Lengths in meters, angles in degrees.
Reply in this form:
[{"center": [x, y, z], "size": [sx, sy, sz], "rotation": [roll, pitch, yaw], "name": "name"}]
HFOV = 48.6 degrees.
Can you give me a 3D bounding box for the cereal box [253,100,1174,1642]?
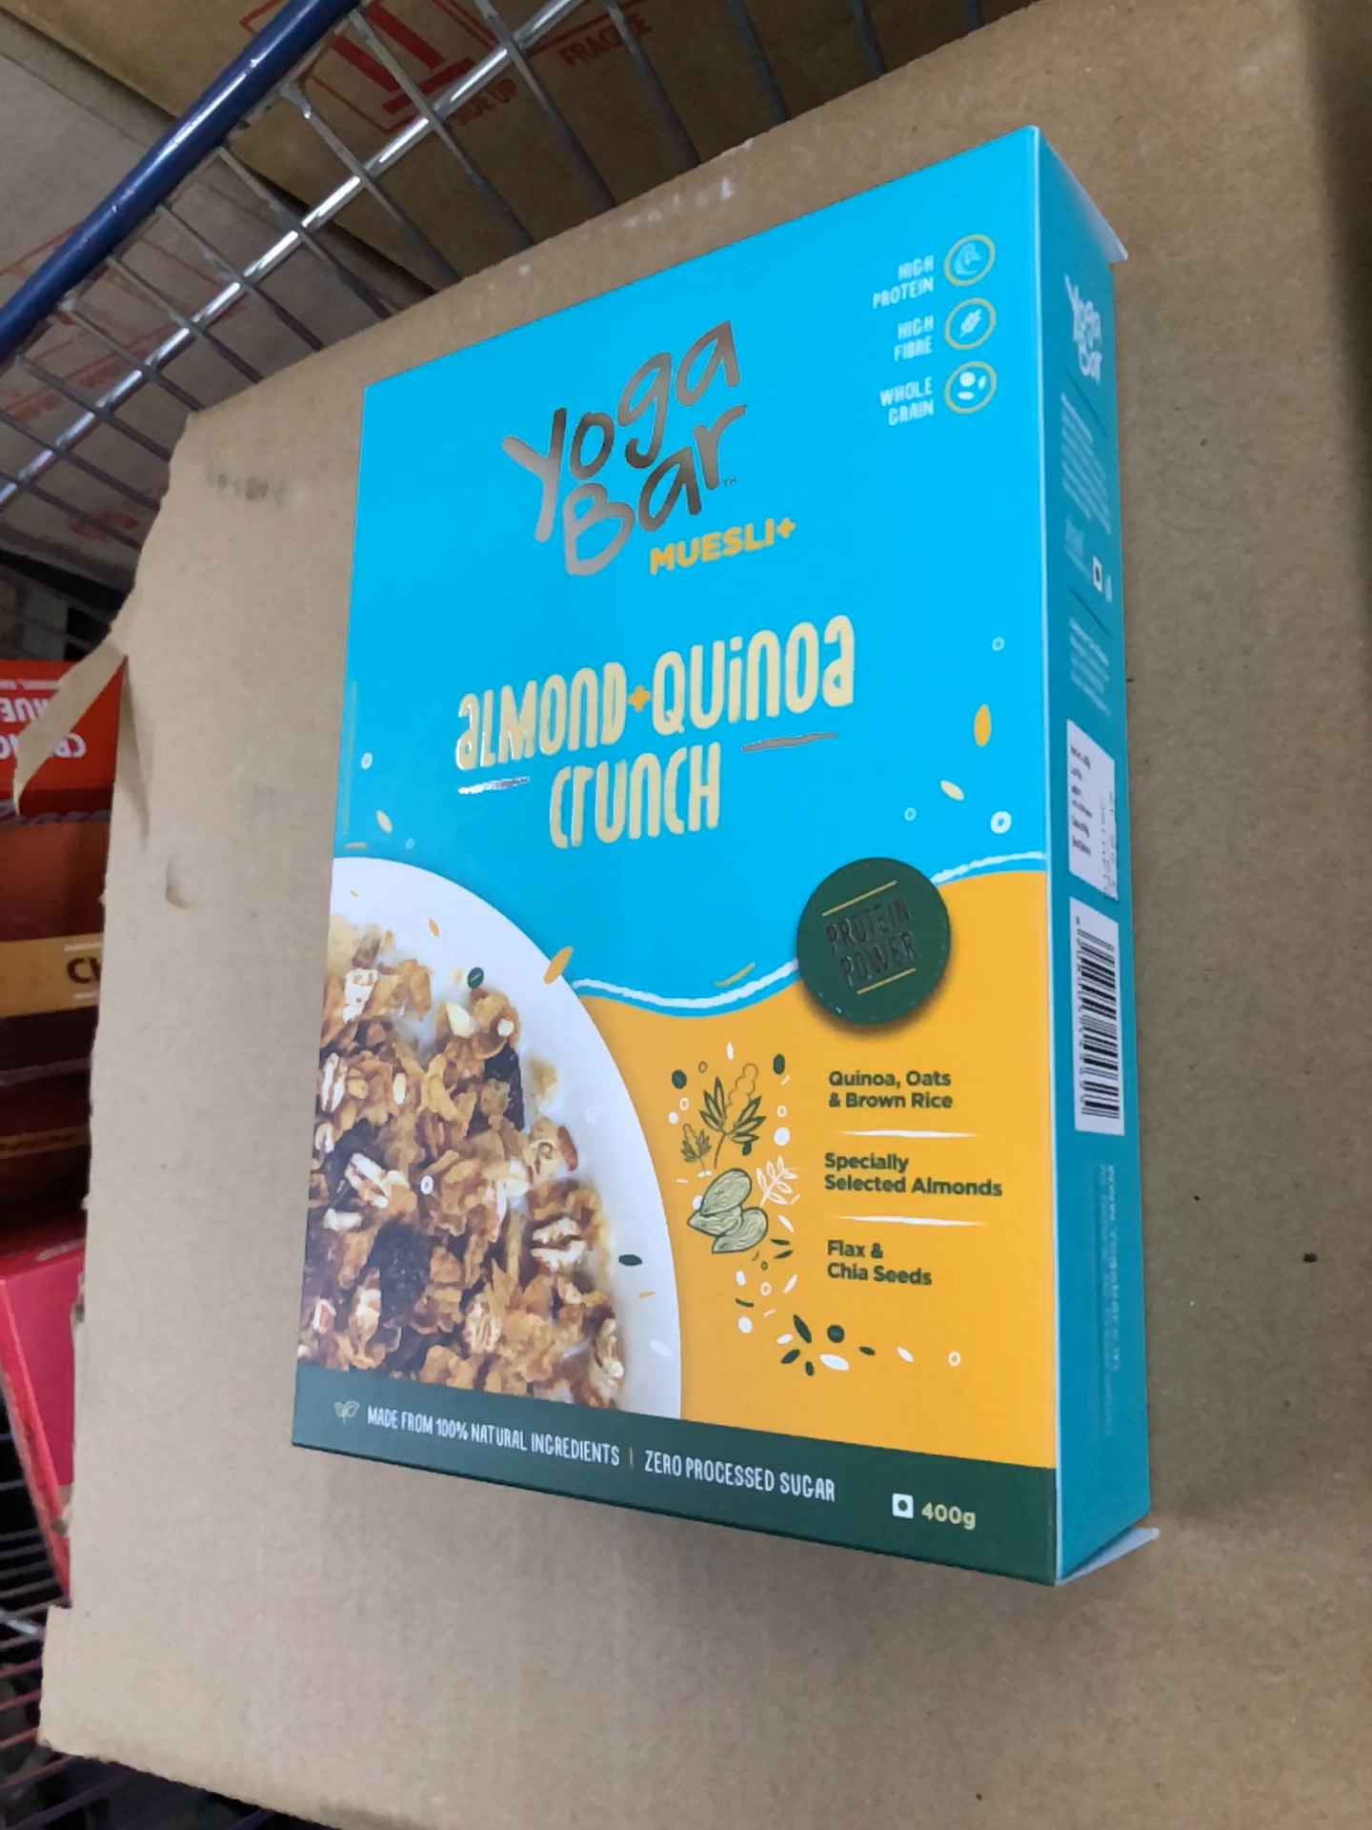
[{"center": [0.002, -0.006, 0.304], "size": [0.161, 0.070, 0.240], "rotation": [-5, 80, 31], "name": "cereal box"}]
